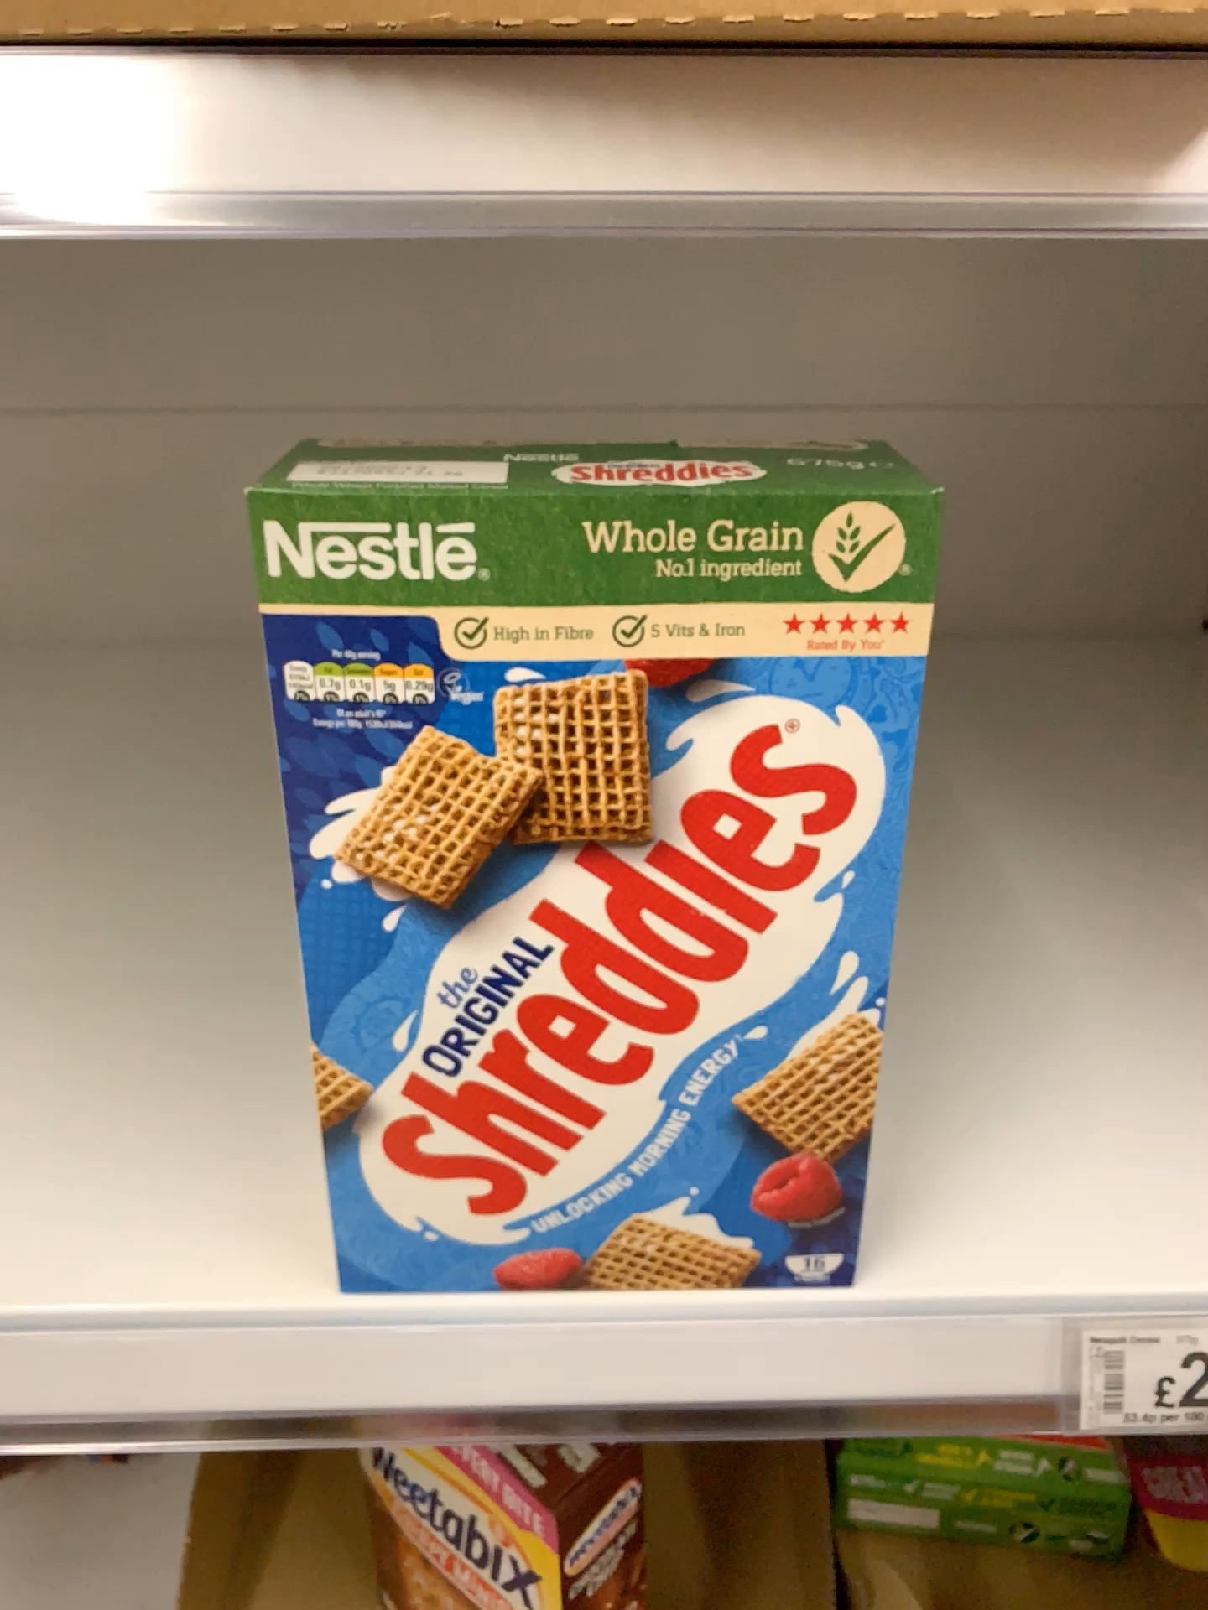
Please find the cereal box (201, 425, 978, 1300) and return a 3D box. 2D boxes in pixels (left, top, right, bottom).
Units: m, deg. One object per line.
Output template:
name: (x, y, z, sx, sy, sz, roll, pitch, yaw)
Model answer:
cereal box: (-0.004, 0.028, 0.421, 0.200, 0.288, 0.081, 0, 26, 0)
